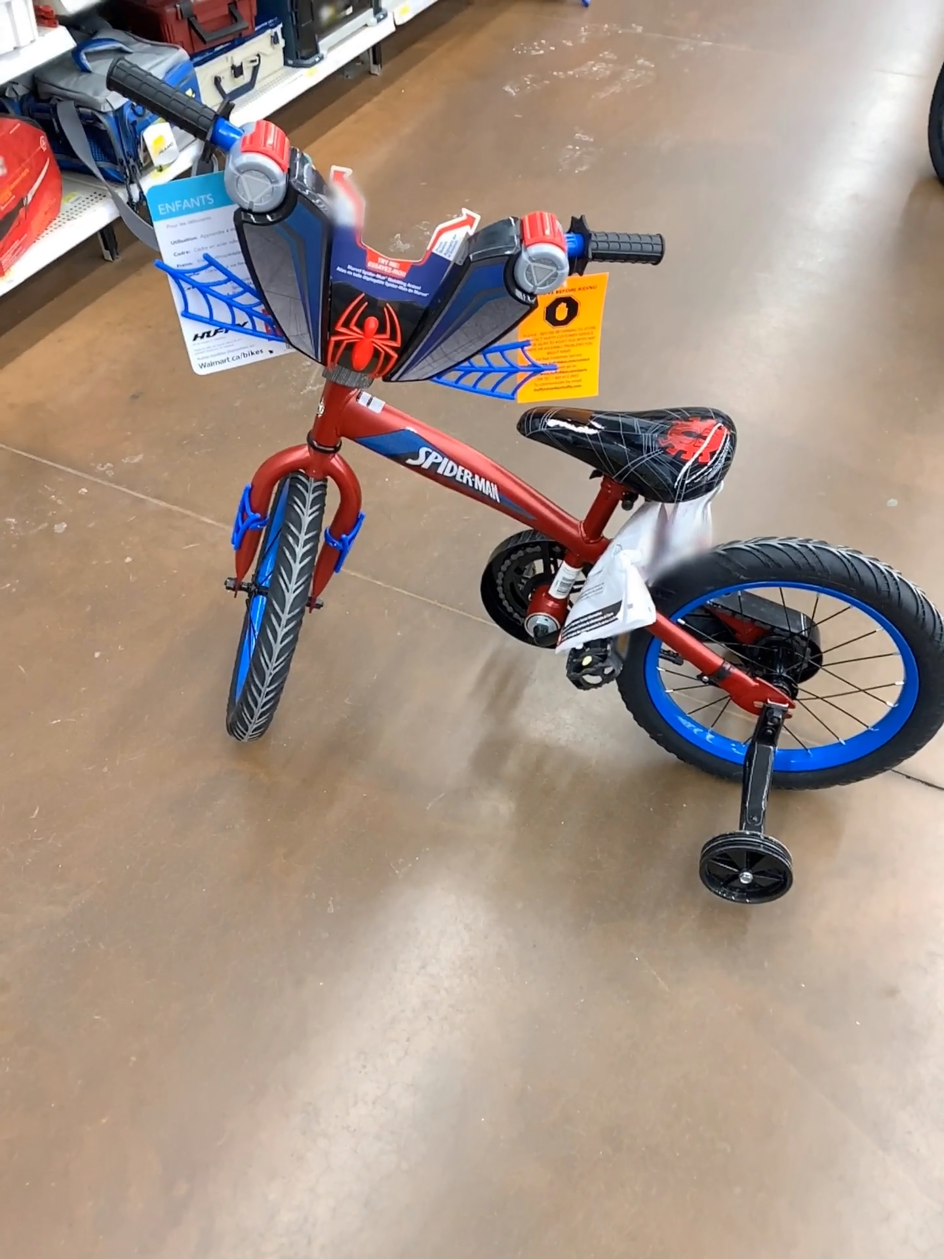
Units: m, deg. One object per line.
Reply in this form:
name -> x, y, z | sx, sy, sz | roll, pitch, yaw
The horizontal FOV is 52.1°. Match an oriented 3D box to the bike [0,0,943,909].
bike -> 0.048, -0.125, 0.894 | 0.565, 0.709, 0.477 | 3, 48, 4
